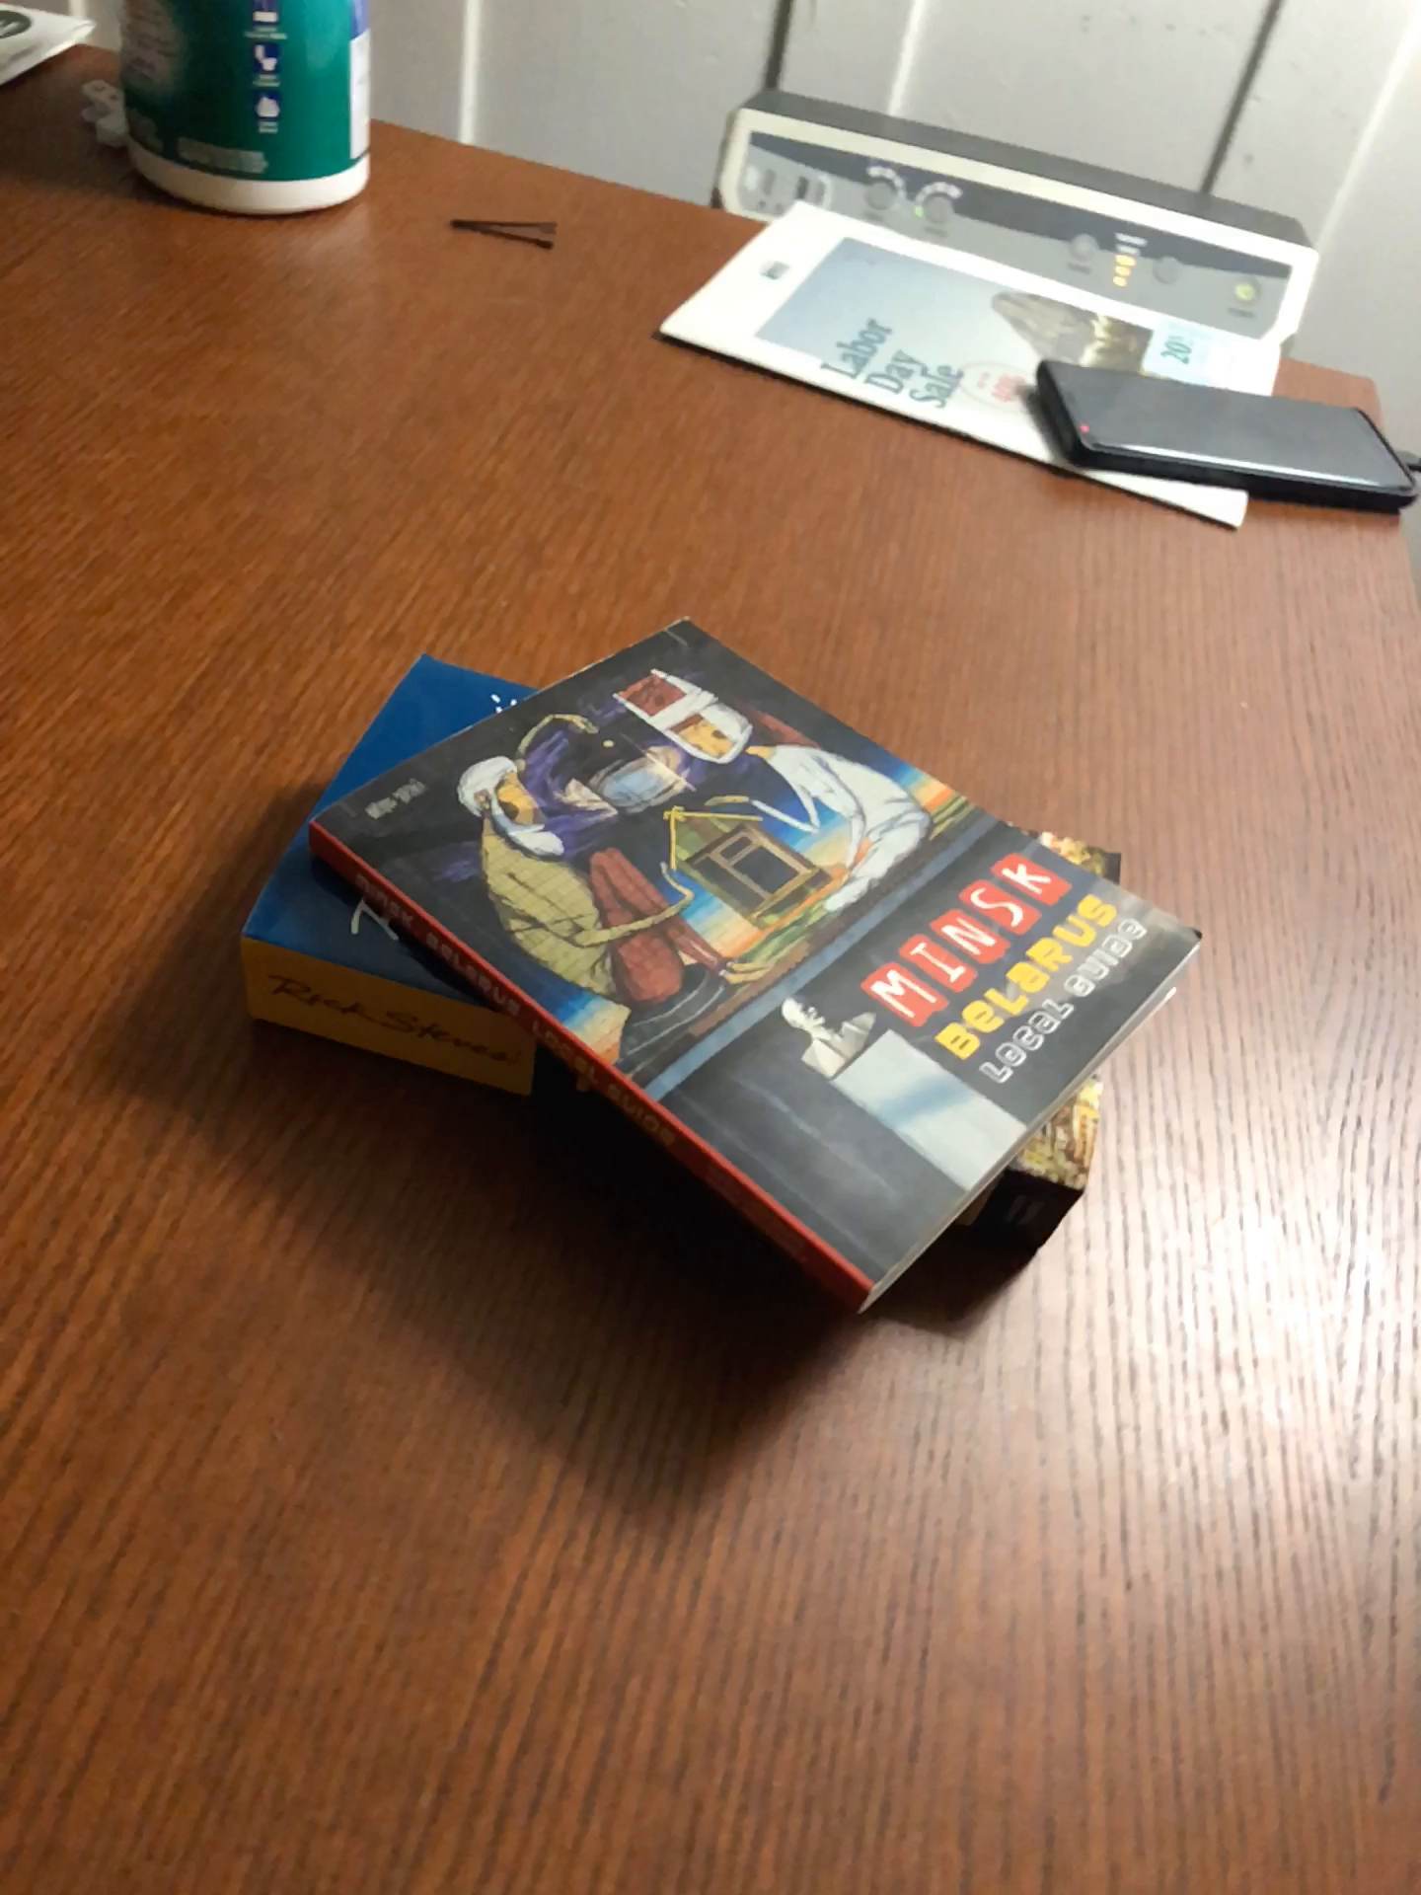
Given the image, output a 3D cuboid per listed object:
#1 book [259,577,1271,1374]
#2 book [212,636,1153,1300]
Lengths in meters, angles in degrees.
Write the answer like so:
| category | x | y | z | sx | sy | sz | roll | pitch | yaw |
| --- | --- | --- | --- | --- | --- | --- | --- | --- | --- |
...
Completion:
| category | x | y | z | sx | sy | sz | roll | pitch | yaw |
| --- | --- | --- | --- | --- | --- | --- | --- | --- | --- |
| book | 0.015 | -0.012 | 0.376 | 0.190 | 0.020 | 0.151 | 35 | 48 | 21 |
| book | 0.002 | -0.003 | 0.419 | 0.220 | 0.040 | 0.131 | 16 | 44 | 3 |
